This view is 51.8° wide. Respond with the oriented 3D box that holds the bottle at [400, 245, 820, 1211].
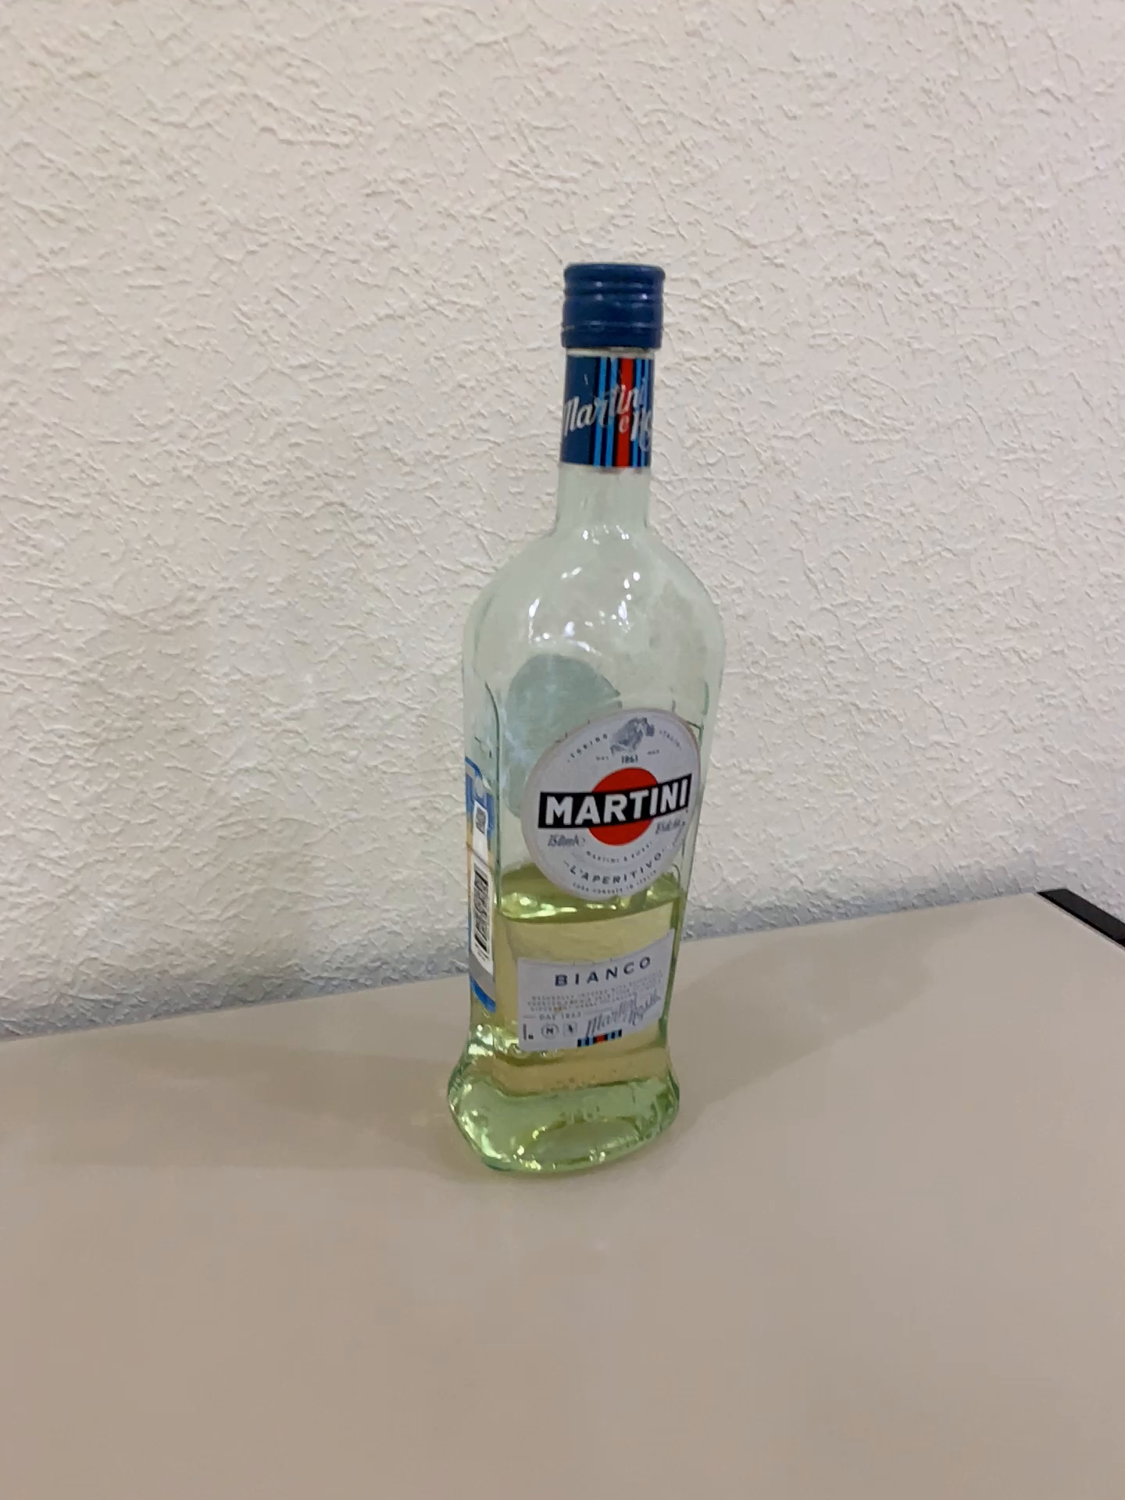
[{"bbox_3d":[0.006,-0.004,0.408,0.100,0.309,0.080,-6,21,-26],"label":"bottle"}]
